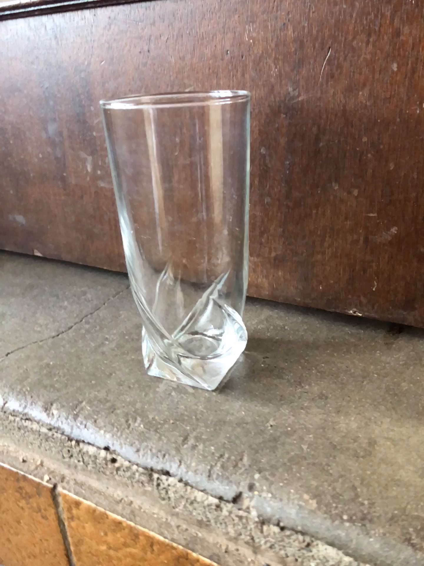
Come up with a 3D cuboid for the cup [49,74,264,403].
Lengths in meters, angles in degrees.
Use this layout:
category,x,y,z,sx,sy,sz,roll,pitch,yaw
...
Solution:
category,x,y,z,sx,sy,sz,roll,pitch,yaw
cup,-0.018,-0.024,0.232,0.070,0.139,0.060,9,27,24
